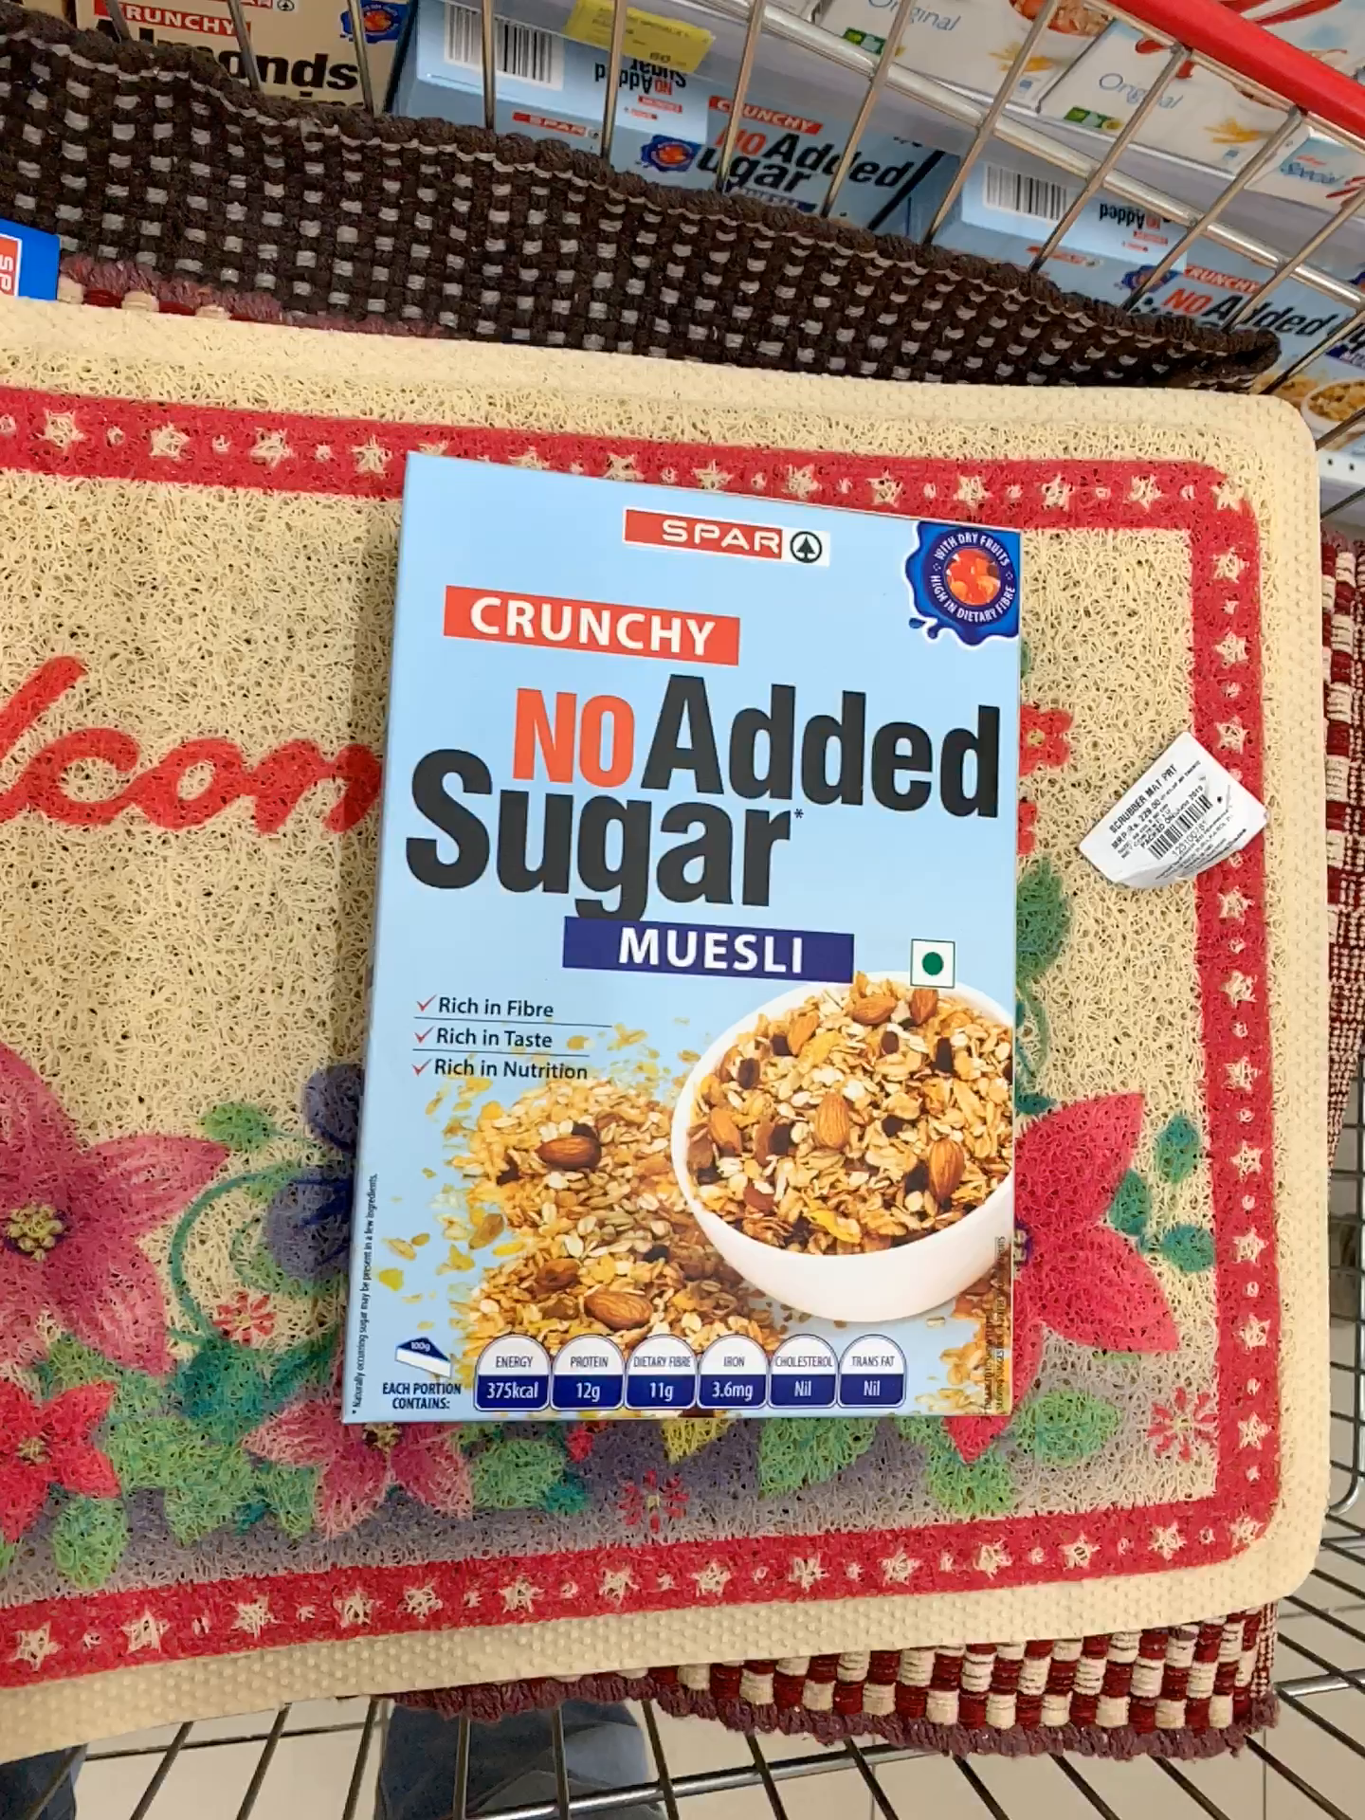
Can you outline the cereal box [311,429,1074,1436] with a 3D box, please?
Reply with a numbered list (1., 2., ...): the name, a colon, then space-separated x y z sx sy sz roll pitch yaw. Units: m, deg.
1. cereal box: 0.006 0.008 0.361 0.180 0.050 0.230 3 83 -12
